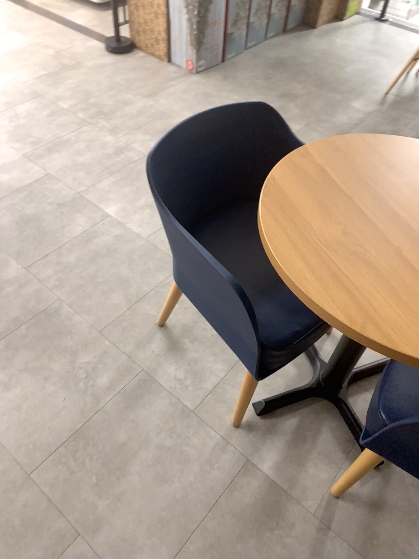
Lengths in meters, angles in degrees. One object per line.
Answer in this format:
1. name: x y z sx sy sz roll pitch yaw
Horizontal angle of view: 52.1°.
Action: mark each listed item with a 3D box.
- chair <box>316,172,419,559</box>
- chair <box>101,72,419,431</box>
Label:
1. chair: 0.713 0.303 0.964 0.558 0.735 0.565 33 54 22
2. chair: 0.114 -0.079 1.287 0.564 0.735 0.549 -34 59 -29
